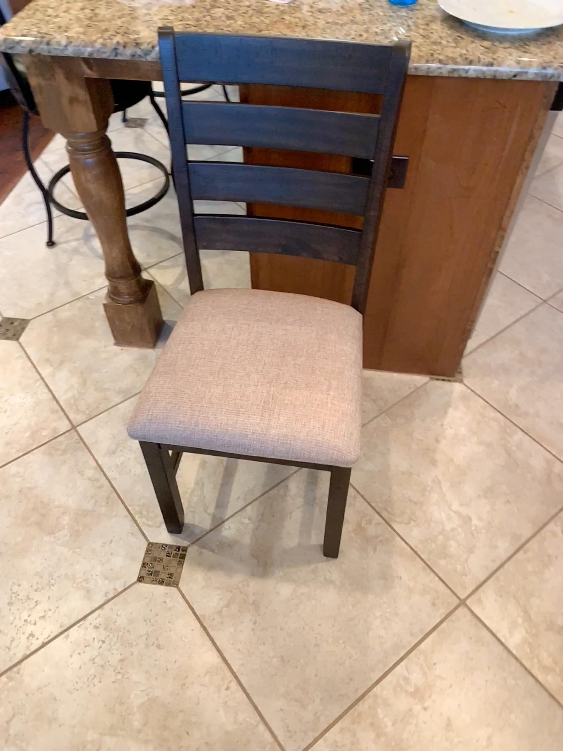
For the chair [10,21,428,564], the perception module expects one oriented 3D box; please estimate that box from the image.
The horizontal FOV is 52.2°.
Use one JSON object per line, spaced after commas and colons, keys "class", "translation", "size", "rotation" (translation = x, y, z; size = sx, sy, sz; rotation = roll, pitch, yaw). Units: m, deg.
{"class": "chair", "translation": [-0.036, -0.091, 1.143], "size": [0.467, 0.910, 0.526], "rotation": [6, 50, 6]}
